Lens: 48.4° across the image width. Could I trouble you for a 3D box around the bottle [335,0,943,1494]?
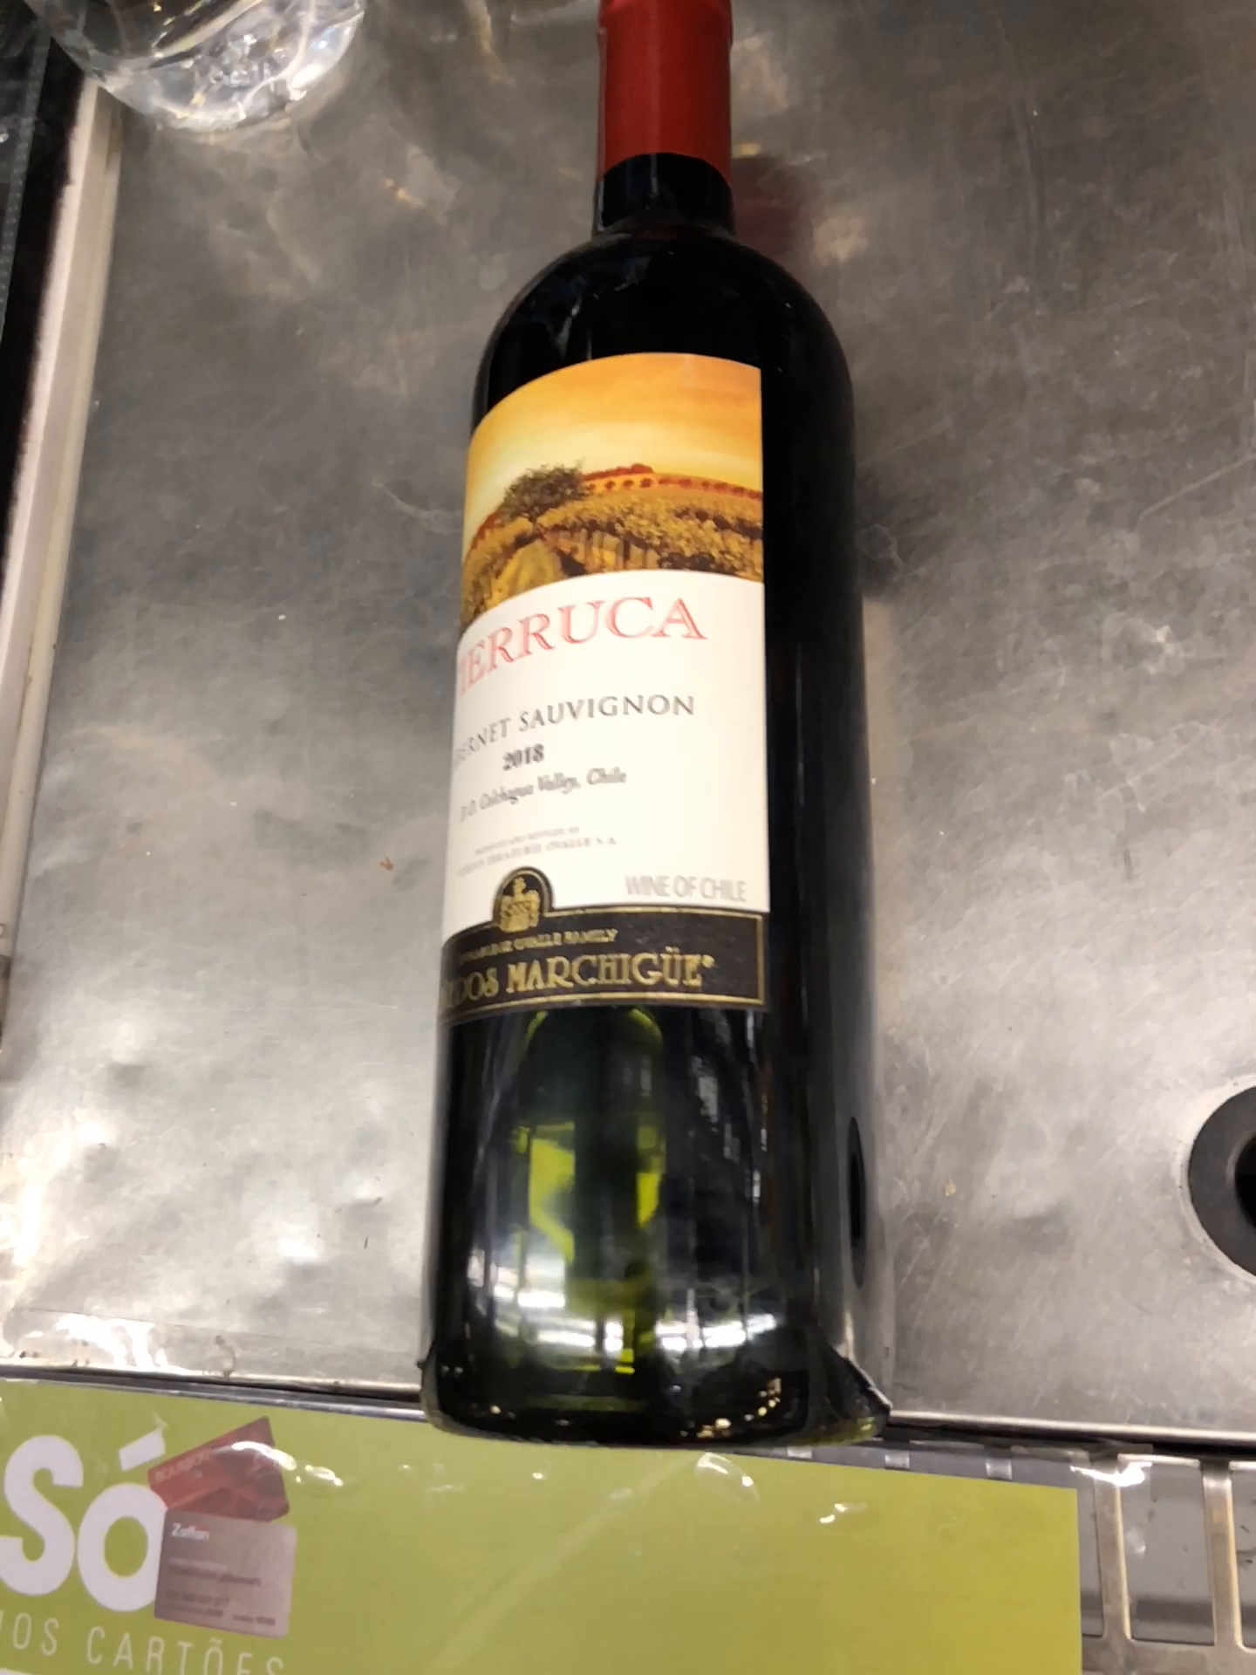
[{"bbox_3d":[0.004,-0.057,0.254,0.080,0.050,0.310,-5,73,18],"label":"bottle"}]
